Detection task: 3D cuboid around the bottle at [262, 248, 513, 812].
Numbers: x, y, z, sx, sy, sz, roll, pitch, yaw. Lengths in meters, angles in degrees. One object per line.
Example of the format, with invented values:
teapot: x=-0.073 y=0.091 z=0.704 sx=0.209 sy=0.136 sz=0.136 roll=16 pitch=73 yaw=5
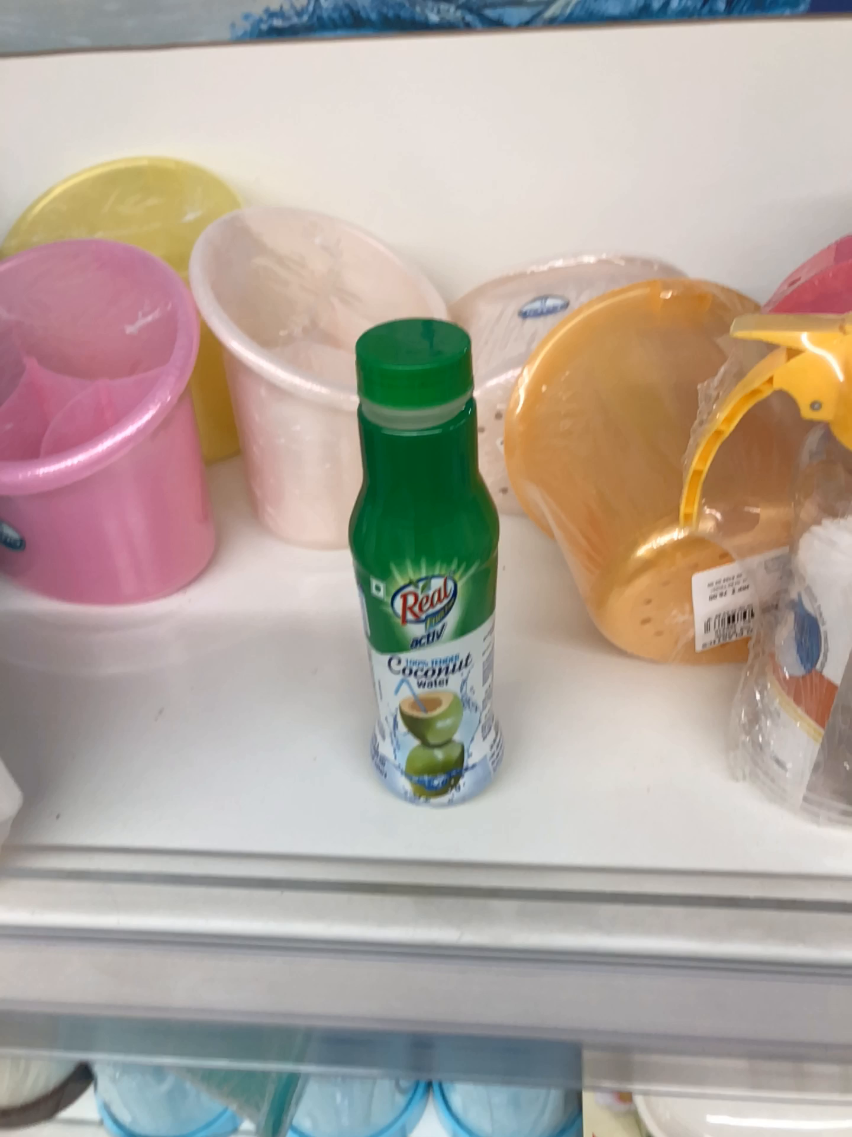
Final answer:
bottle: x=-0.006 y=-0.002 z=0.306 sx=0.060 sy=0.179 sz=0.060 roll=-2 pitch=39 yaw=2
